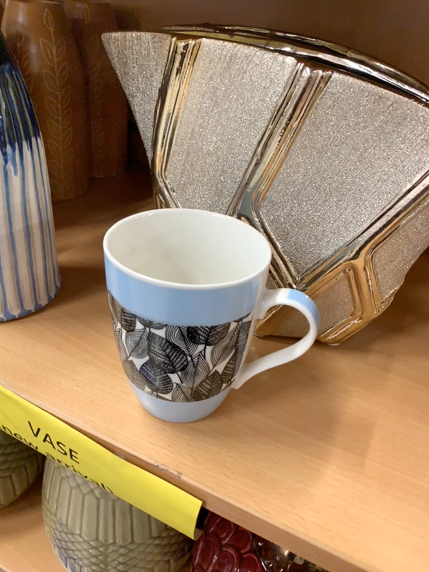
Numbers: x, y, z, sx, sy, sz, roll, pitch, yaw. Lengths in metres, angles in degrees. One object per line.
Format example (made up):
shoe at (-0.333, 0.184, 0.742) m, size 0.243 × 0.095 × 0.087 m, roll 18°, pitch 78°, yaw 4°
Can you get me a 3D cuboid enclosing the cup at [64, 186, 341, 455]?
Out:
cup at (-0.003, 0.012, 0.228) m, size 0.110 × 0.090 × 0.080 m, roll 10°, pitch 30°, yaw 7°
